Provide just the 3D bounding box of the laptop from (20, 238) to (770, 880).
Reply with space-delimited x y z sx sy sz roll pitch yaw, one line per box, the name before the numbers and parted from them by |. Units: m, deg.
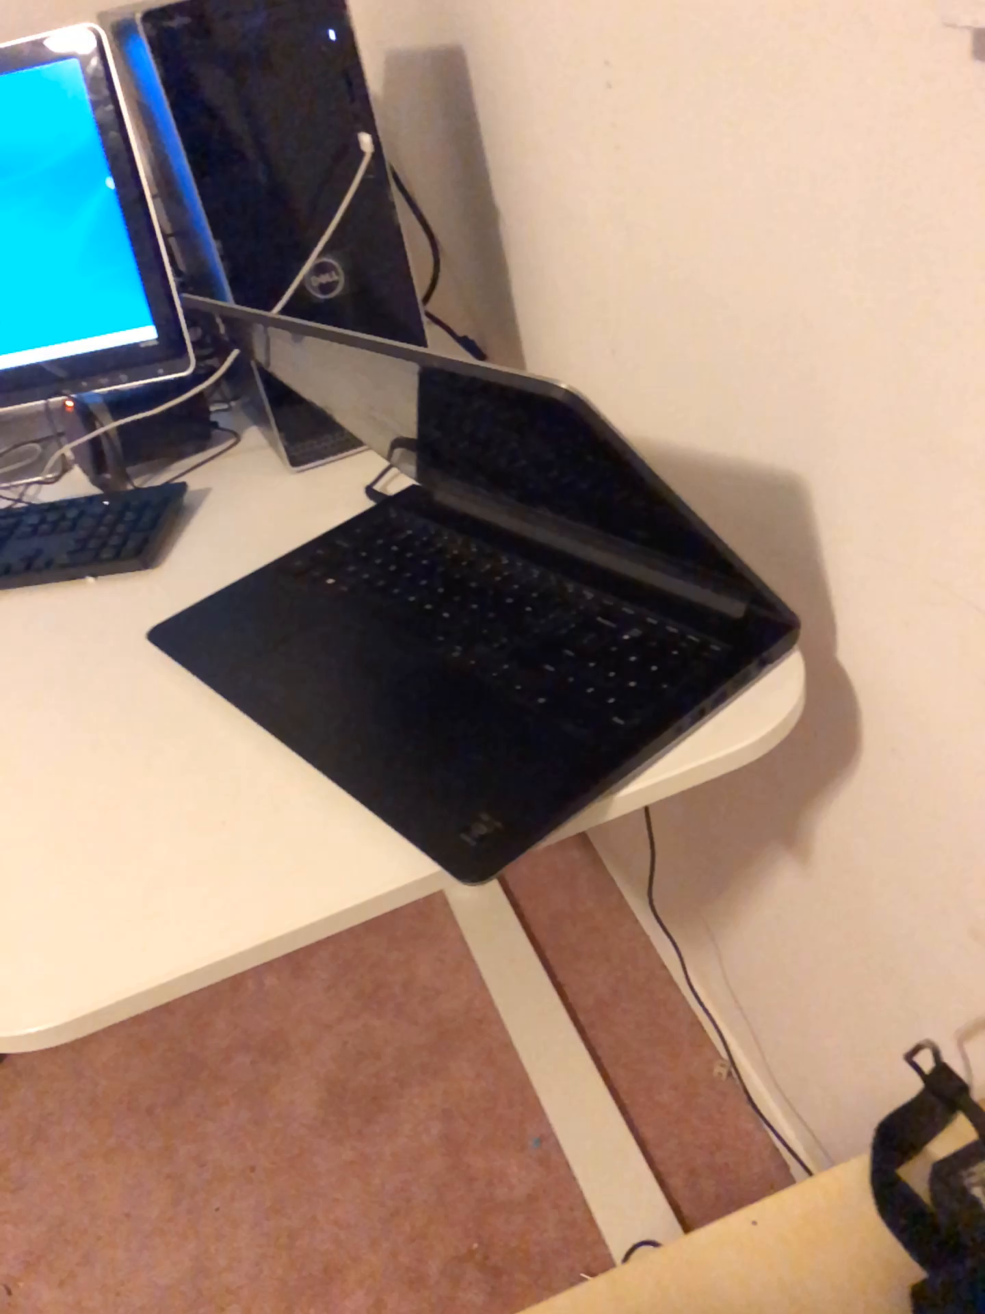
laptop | -0.066 -0.099 0.655 0.251 0.207 0.375 -33 38 -26
